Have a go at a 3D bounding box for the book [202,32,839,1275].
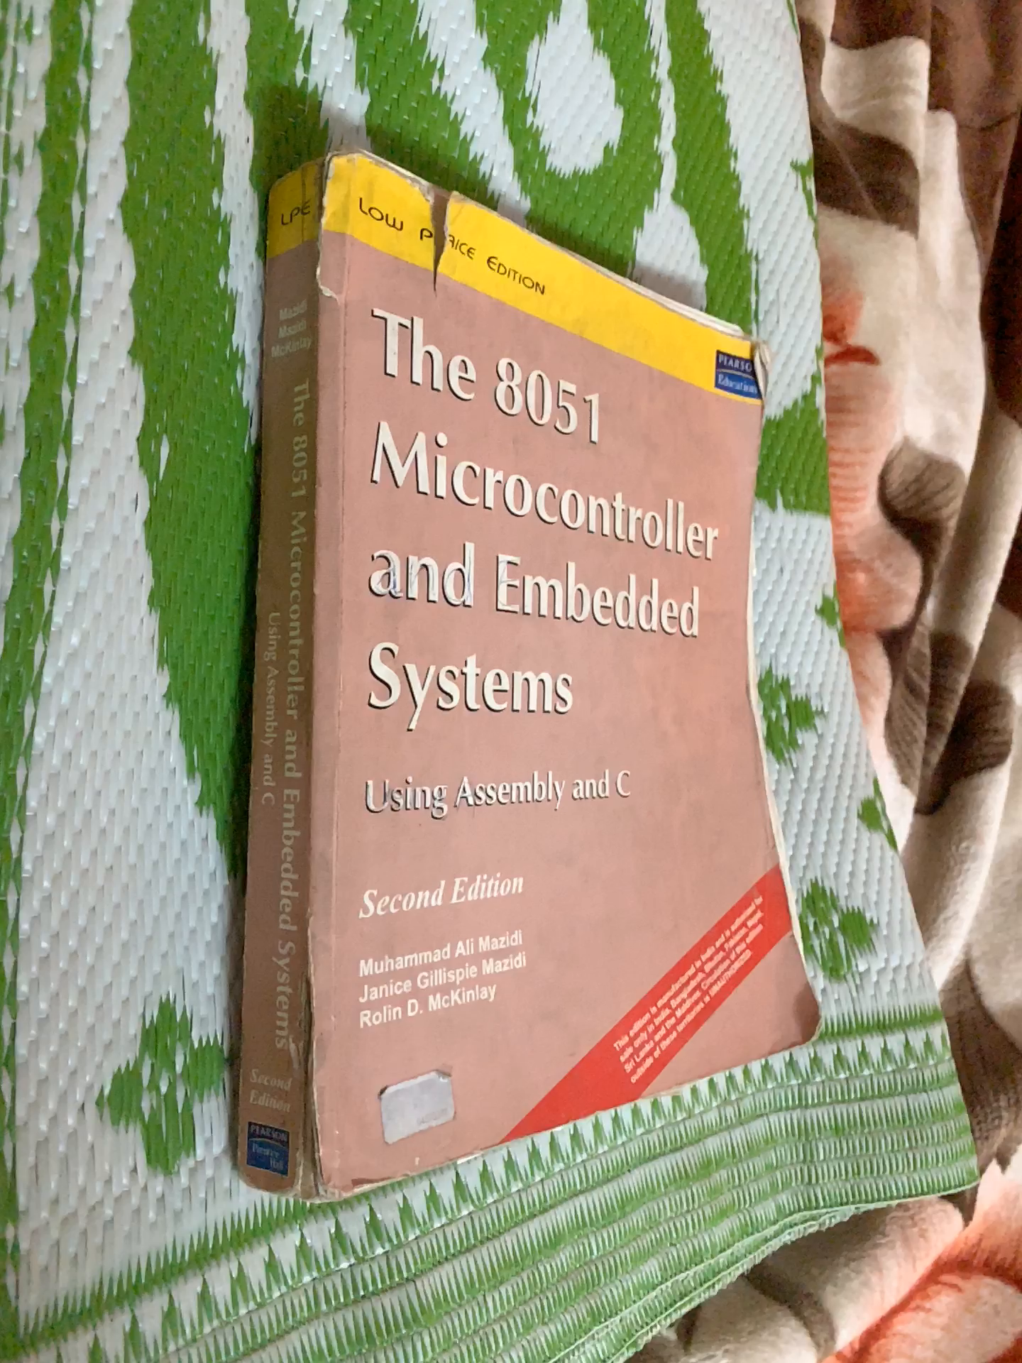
[{"bbox_3d":[0.022,-0.006,0.350,0.231,0.050,0.300,3,87,-41],"label":"book"}]
